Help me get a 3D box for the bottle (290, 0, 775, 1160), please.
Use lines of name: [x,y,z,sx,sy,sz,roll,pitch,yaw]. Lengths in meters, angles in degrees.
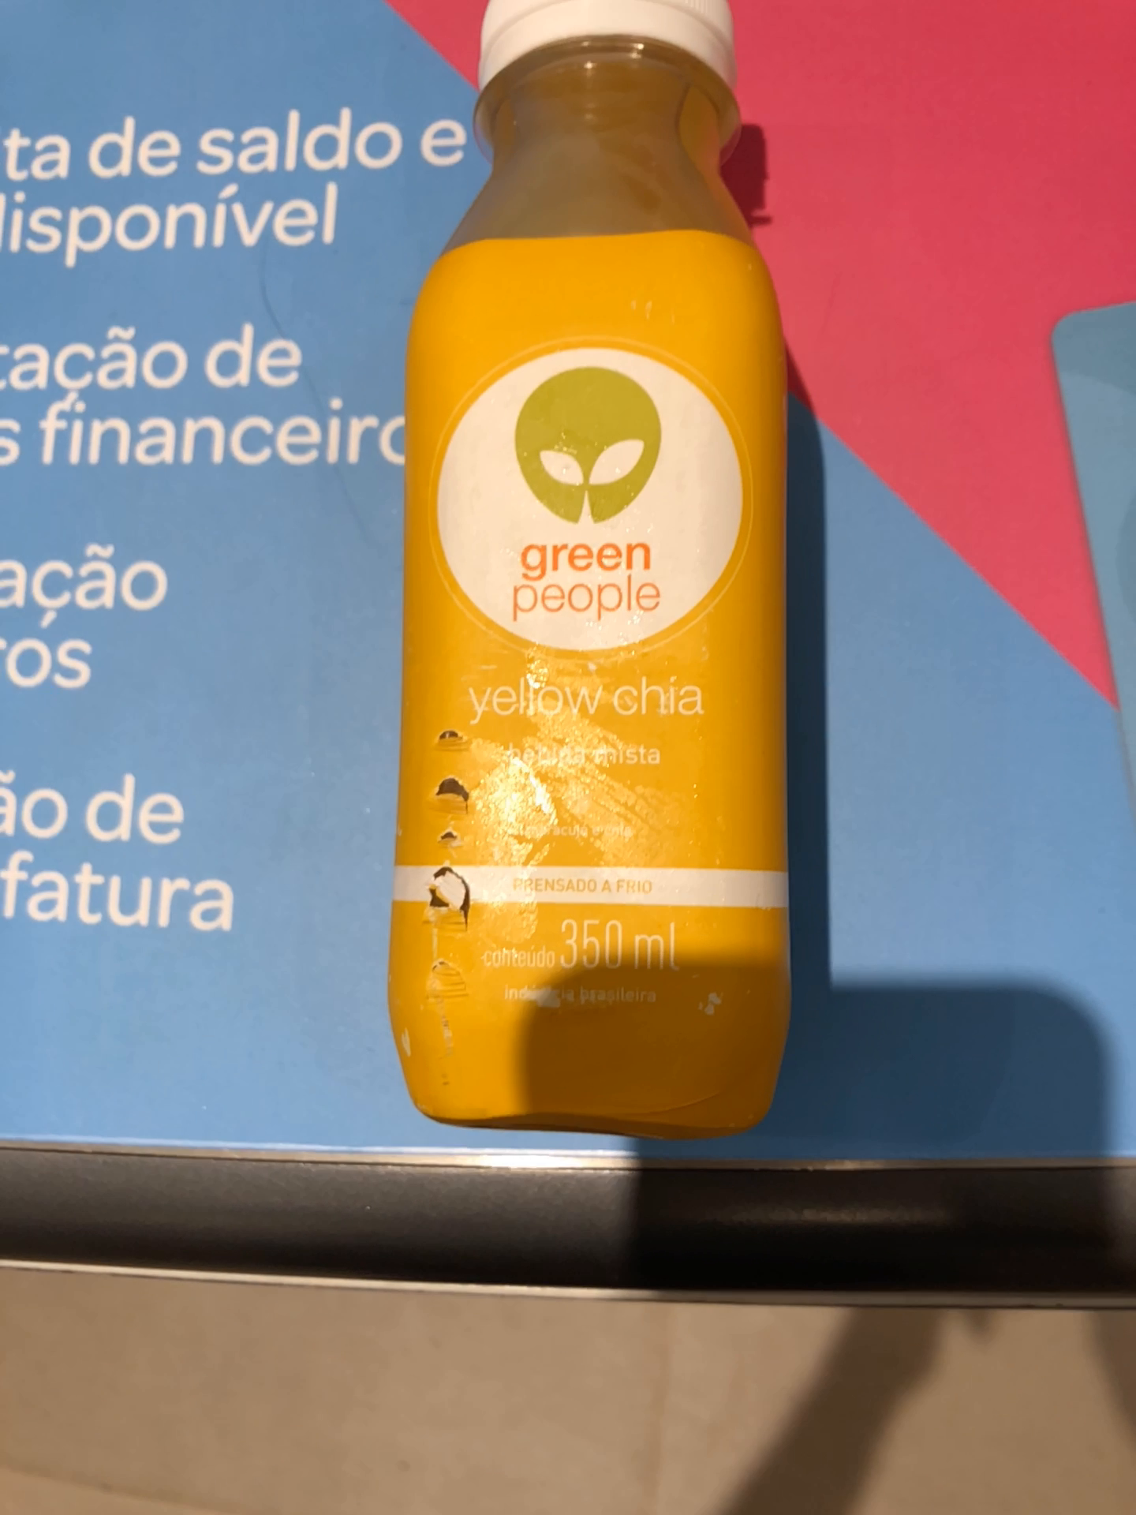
bottle: [-0.002,-0.037,0.198,0.060,0.060,0.180,-2,82,8]
